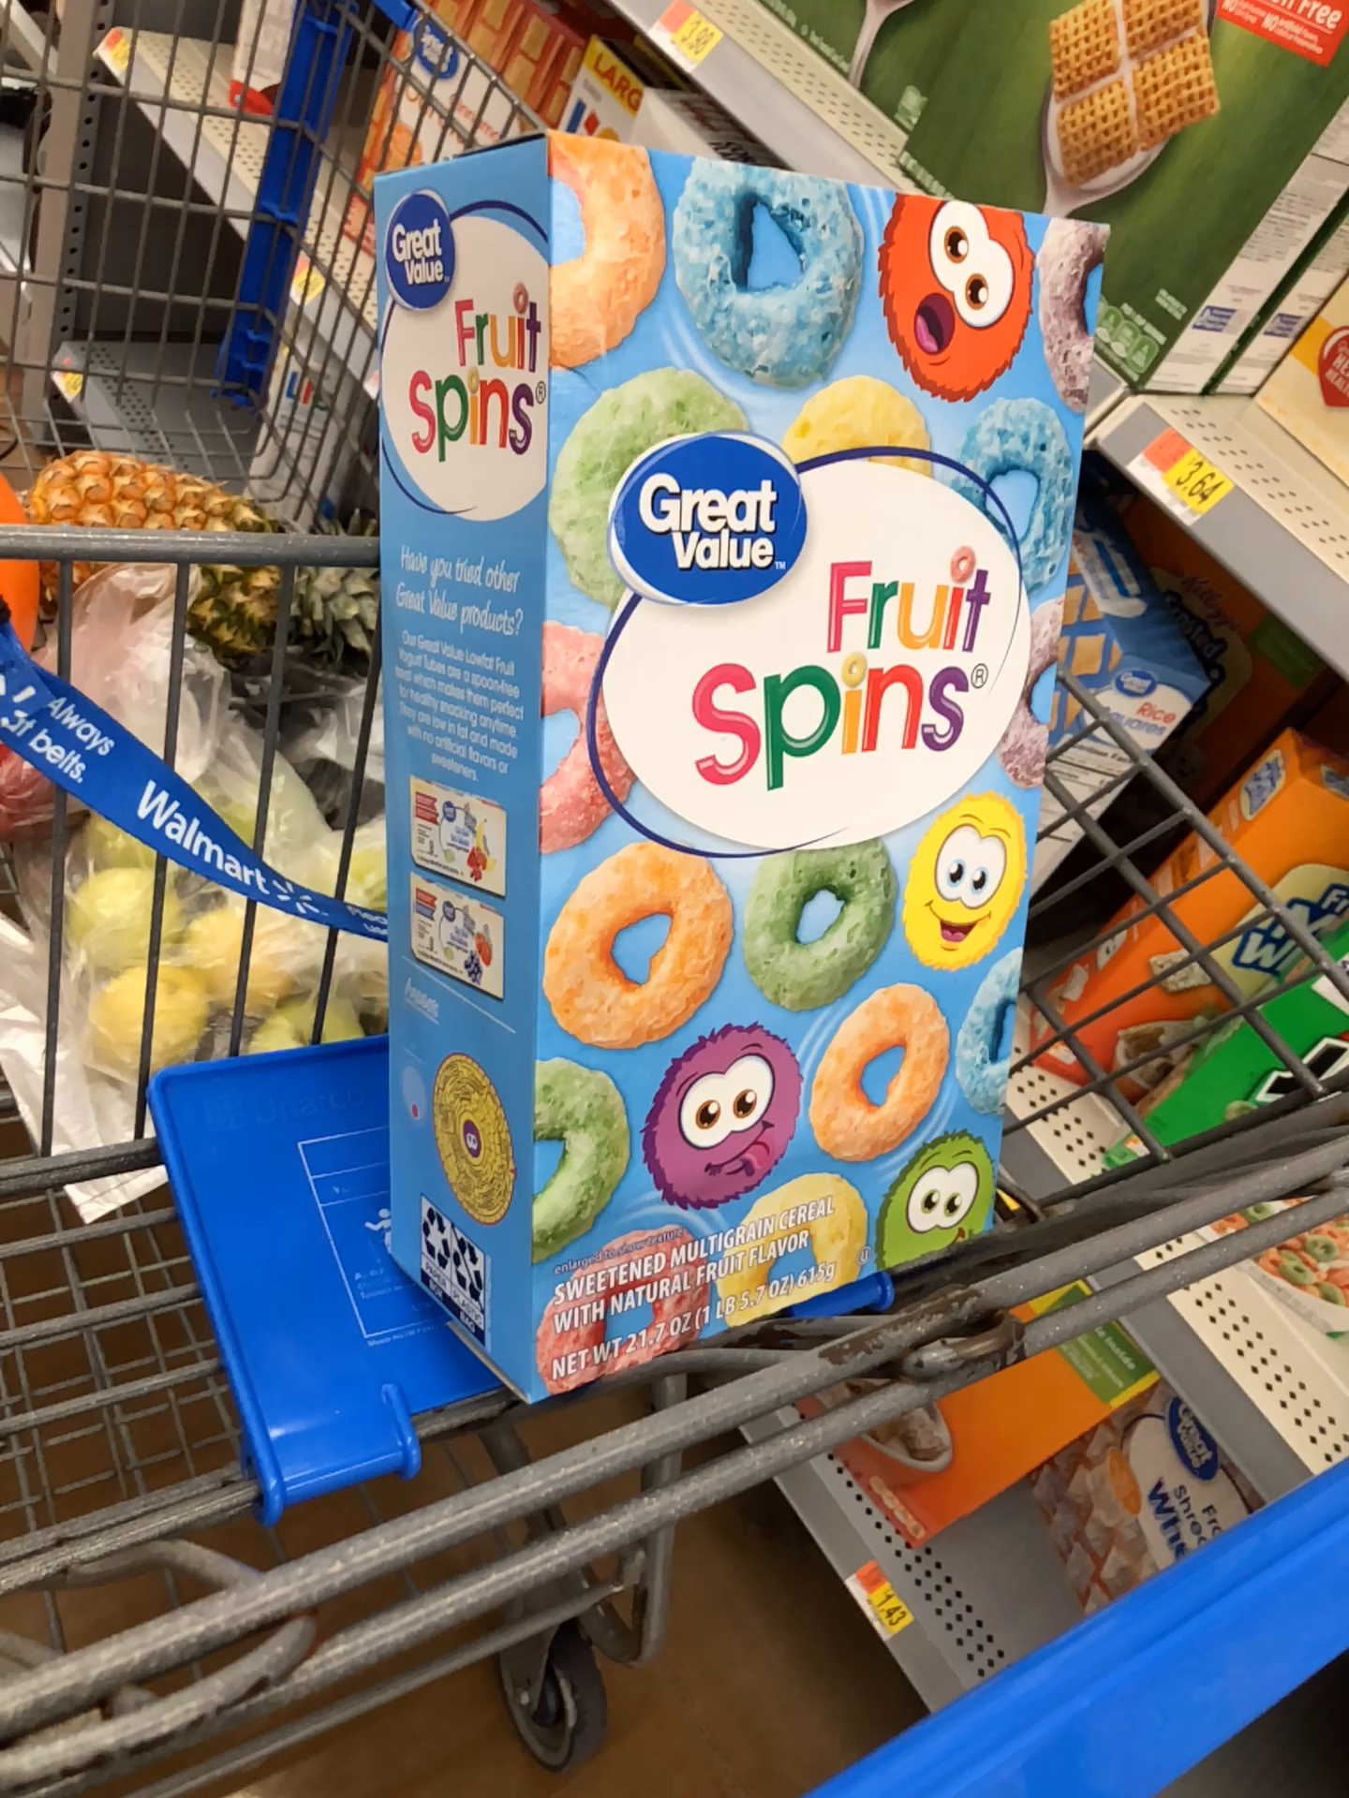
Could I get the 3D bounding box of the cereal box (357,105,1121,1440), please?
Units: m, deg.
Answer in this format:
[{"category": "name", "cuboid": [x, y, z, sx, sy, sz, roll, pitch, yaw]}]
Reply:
[{"category": "cereal box", "cuboid": [0.015, -0.035, 0.463, 0.201, 0.340, 0.090, -10, 22, -36]}]
